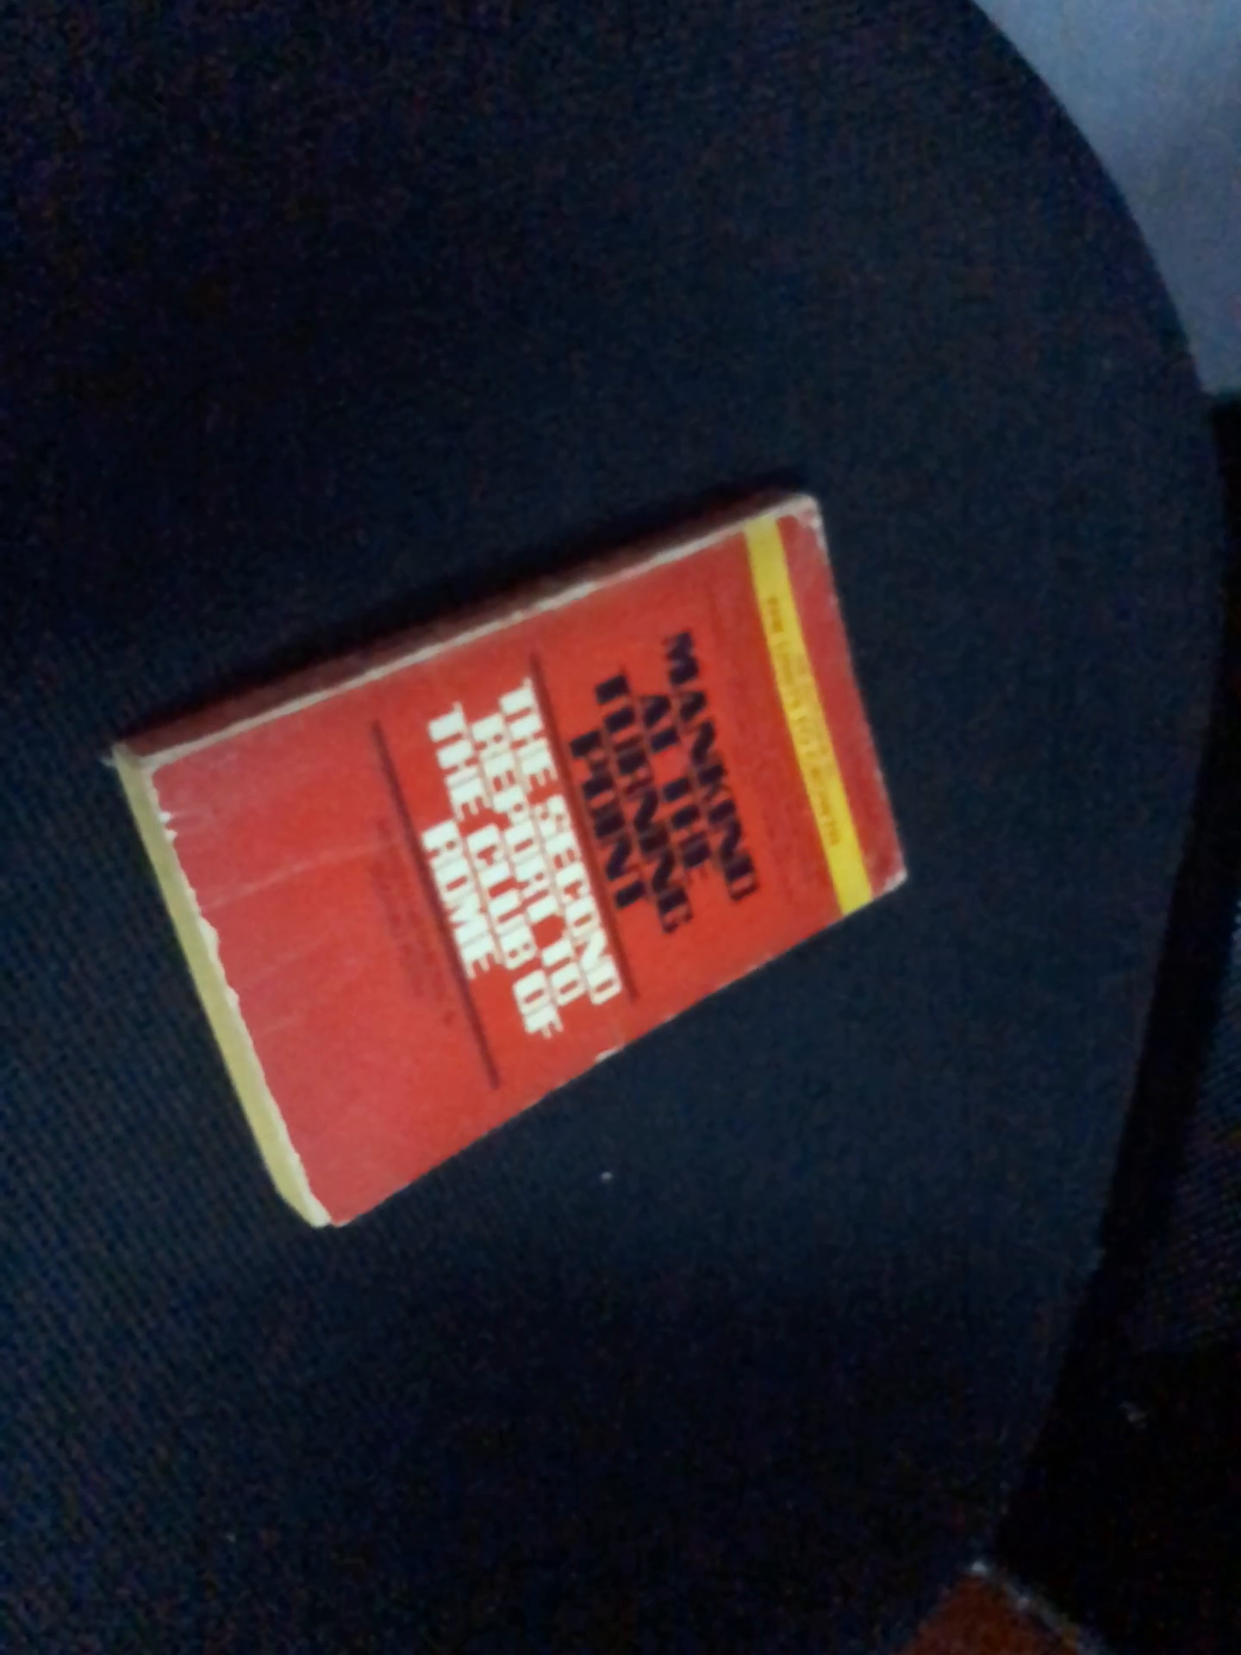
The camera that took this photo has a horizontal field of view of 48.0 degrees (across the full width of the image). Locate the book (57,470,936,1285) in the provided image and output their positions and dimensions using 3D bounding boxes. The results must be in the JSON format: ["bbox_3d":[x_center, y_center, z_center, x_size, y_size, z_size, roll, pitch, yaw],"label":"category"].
[{"bbox_3d":[-0.012,0.002,0.330,0.195,0.025,0.117,-28,111,-29],"label":"book"}]
